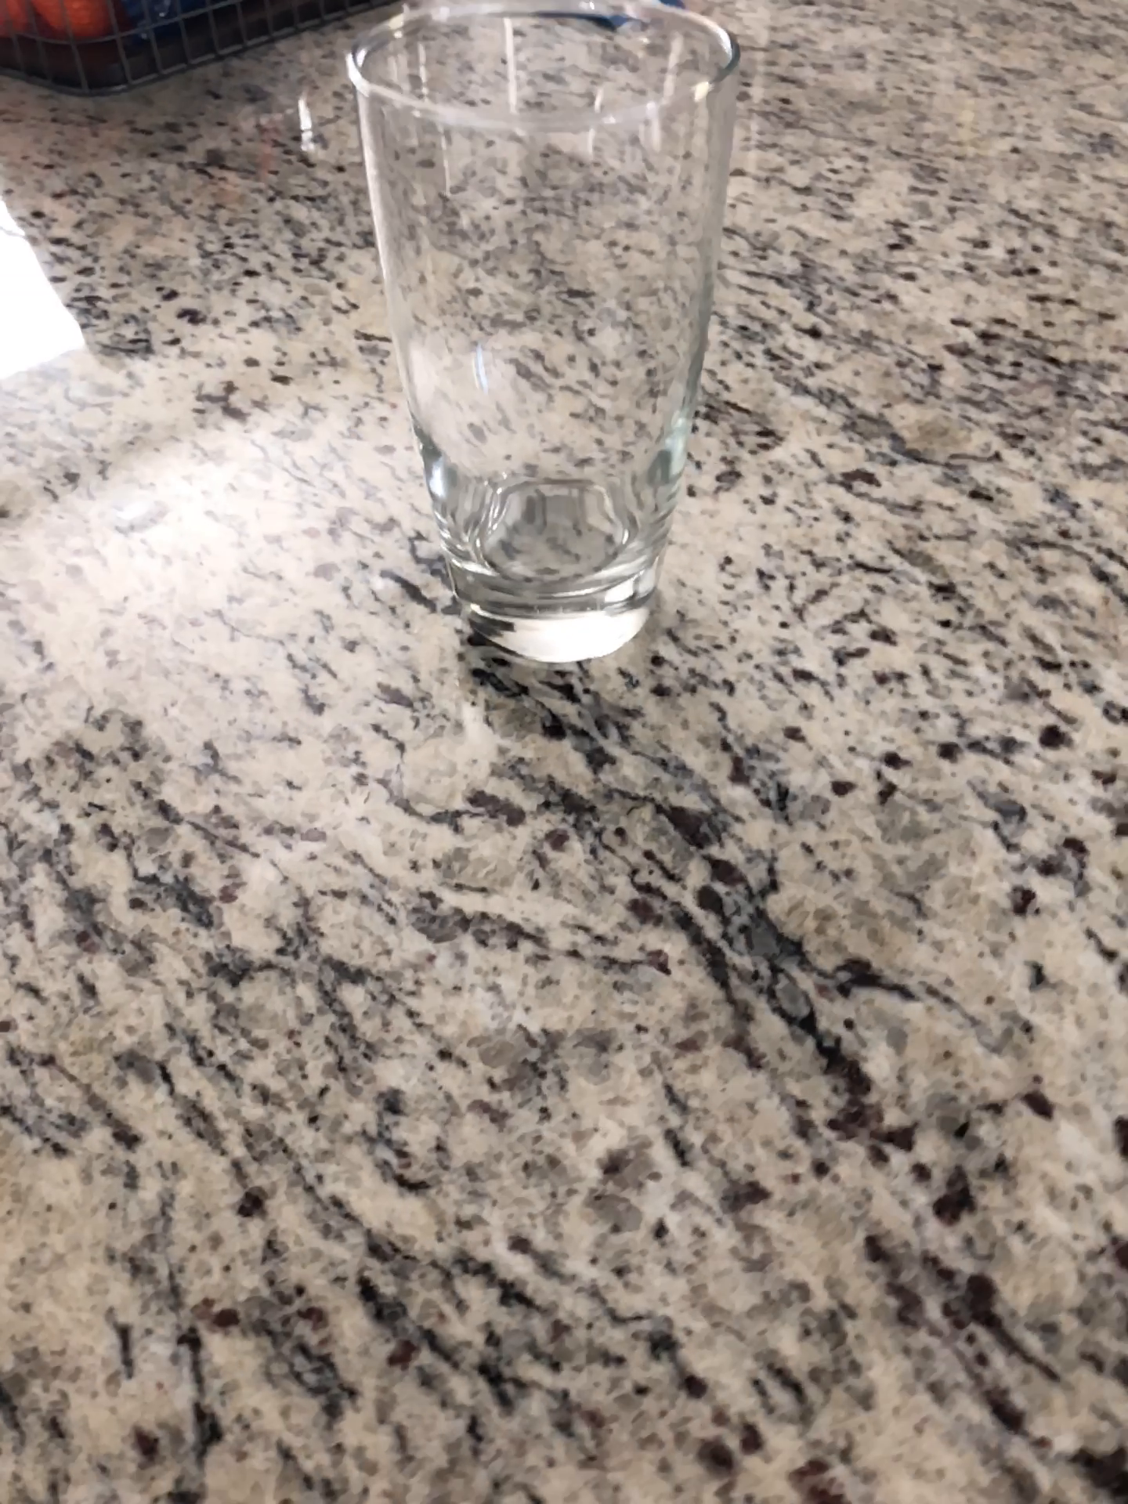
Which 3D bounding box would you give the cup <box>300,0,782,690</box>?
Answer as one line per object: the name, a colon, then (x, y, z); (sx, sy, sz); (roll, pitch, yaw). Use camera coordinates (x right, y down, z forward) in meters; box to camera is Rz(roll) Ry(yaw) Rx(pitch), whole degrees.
cup: (0.000, -0.097, 0.310); (0.090, 0.139, 0.081); (3, 44, 5)
